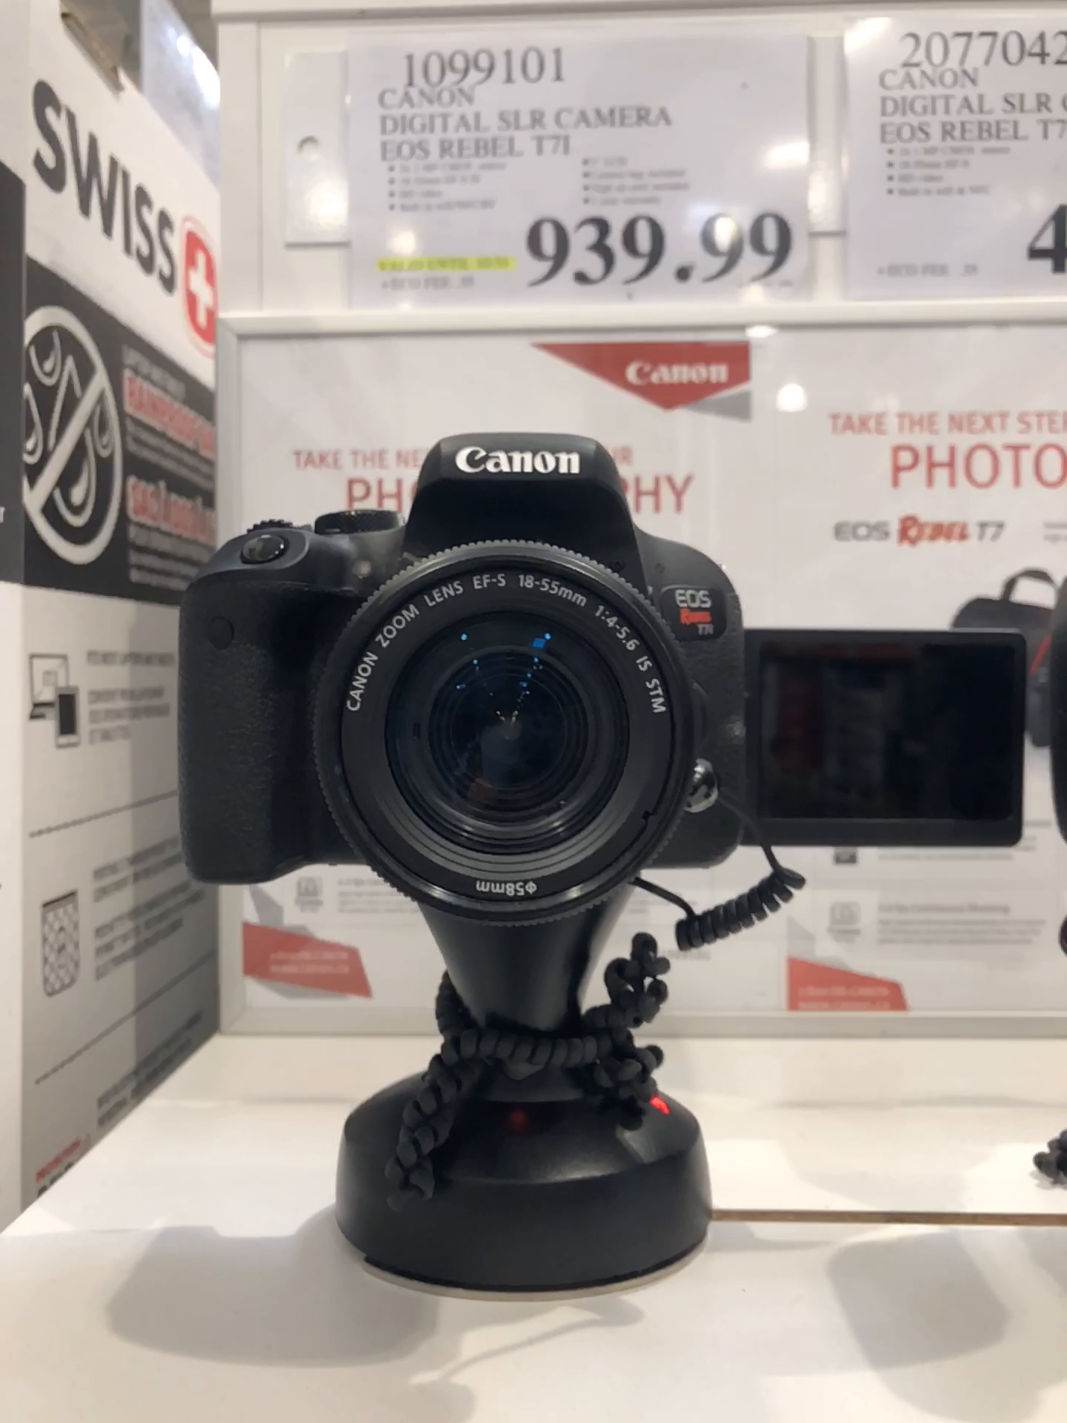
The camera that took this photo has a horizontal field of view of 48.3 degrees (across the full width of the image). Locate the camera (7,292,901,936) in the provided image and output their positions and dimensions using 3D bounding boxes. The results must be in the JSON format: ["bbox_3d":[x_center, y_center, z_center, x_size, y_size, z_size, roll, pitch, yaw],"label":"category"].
[{"bbox_3d":[-0.011,-0.017,0.262,0.140,0.100,0.150,0,1,1],"label":"camera"}]
